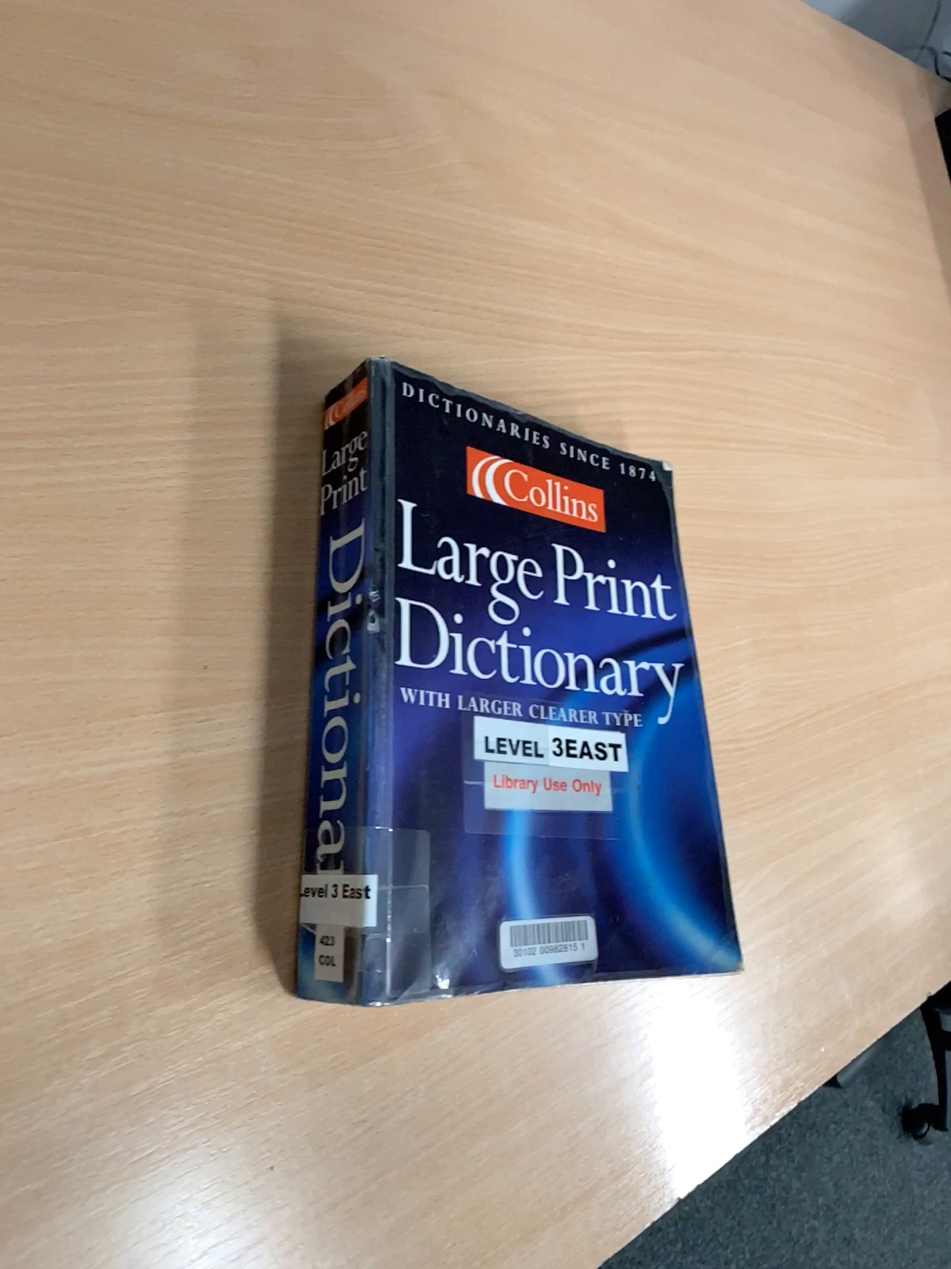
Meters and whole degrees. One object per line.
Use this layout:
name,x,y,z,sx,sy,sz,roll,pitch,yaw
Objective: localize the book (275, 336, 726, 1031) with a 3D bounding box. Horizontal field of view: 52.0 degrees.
book,0.017,0.024,0.411,0.188,0.050,0.243,10,72,-38
